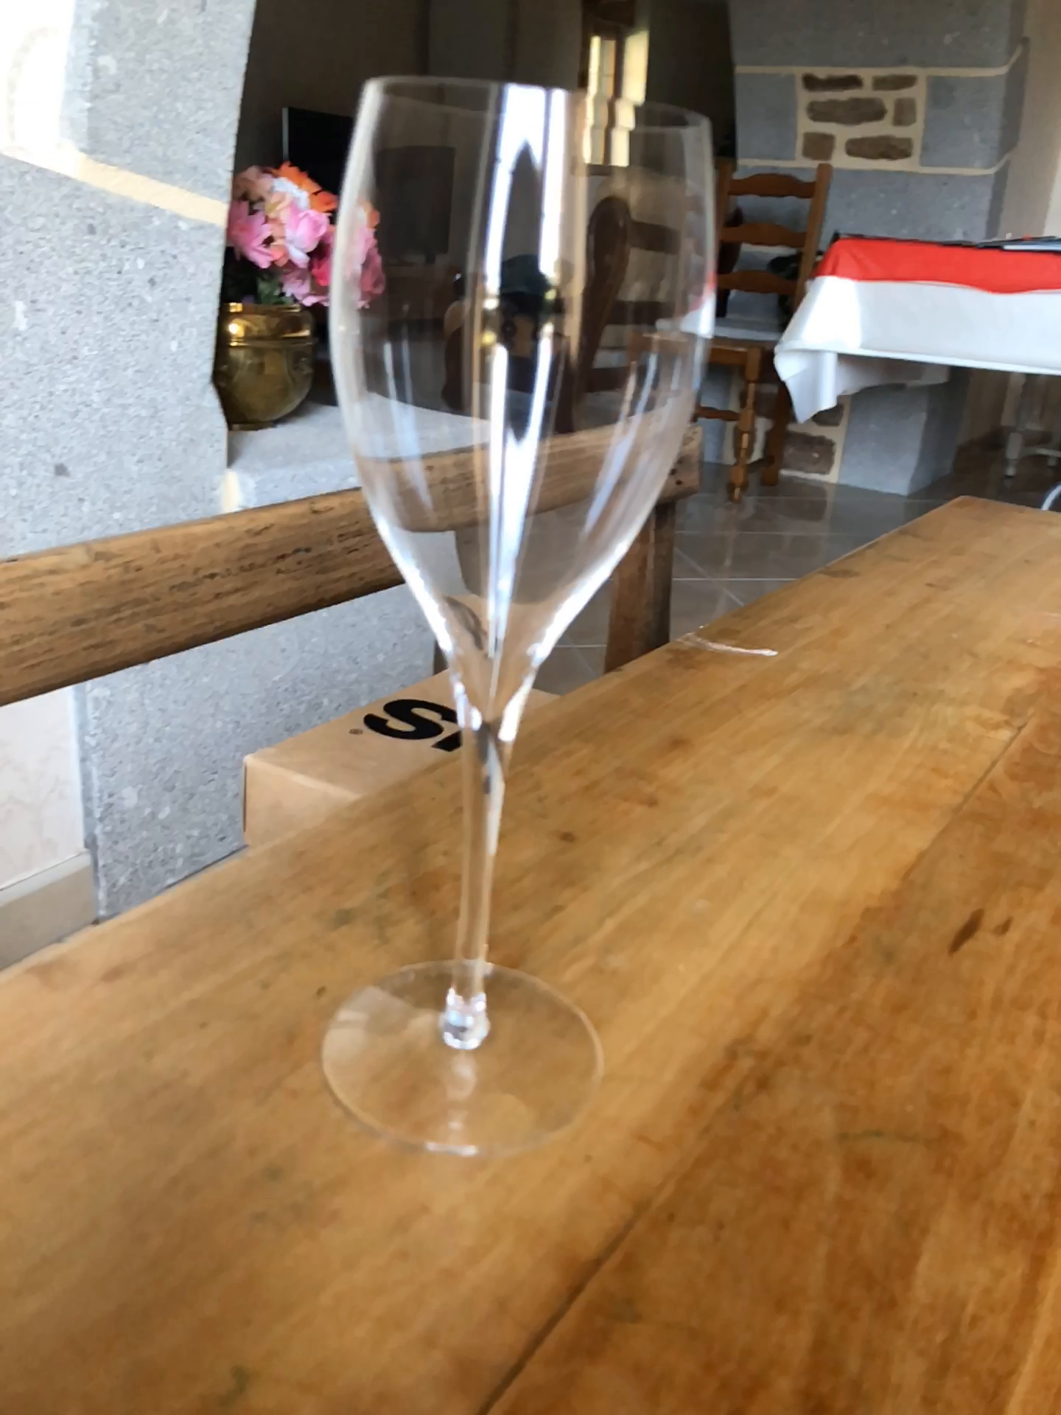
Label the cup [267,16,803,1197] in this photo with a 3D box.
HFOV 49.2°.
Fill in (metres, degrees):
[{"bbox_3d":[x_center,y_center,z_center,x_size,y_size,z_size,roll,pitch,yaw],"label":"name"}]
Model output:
[{"bbox_3d":[0.000,-0.016,0.244,0.080,0.209,0.080,4,22,-1],"label":"cup"}]
